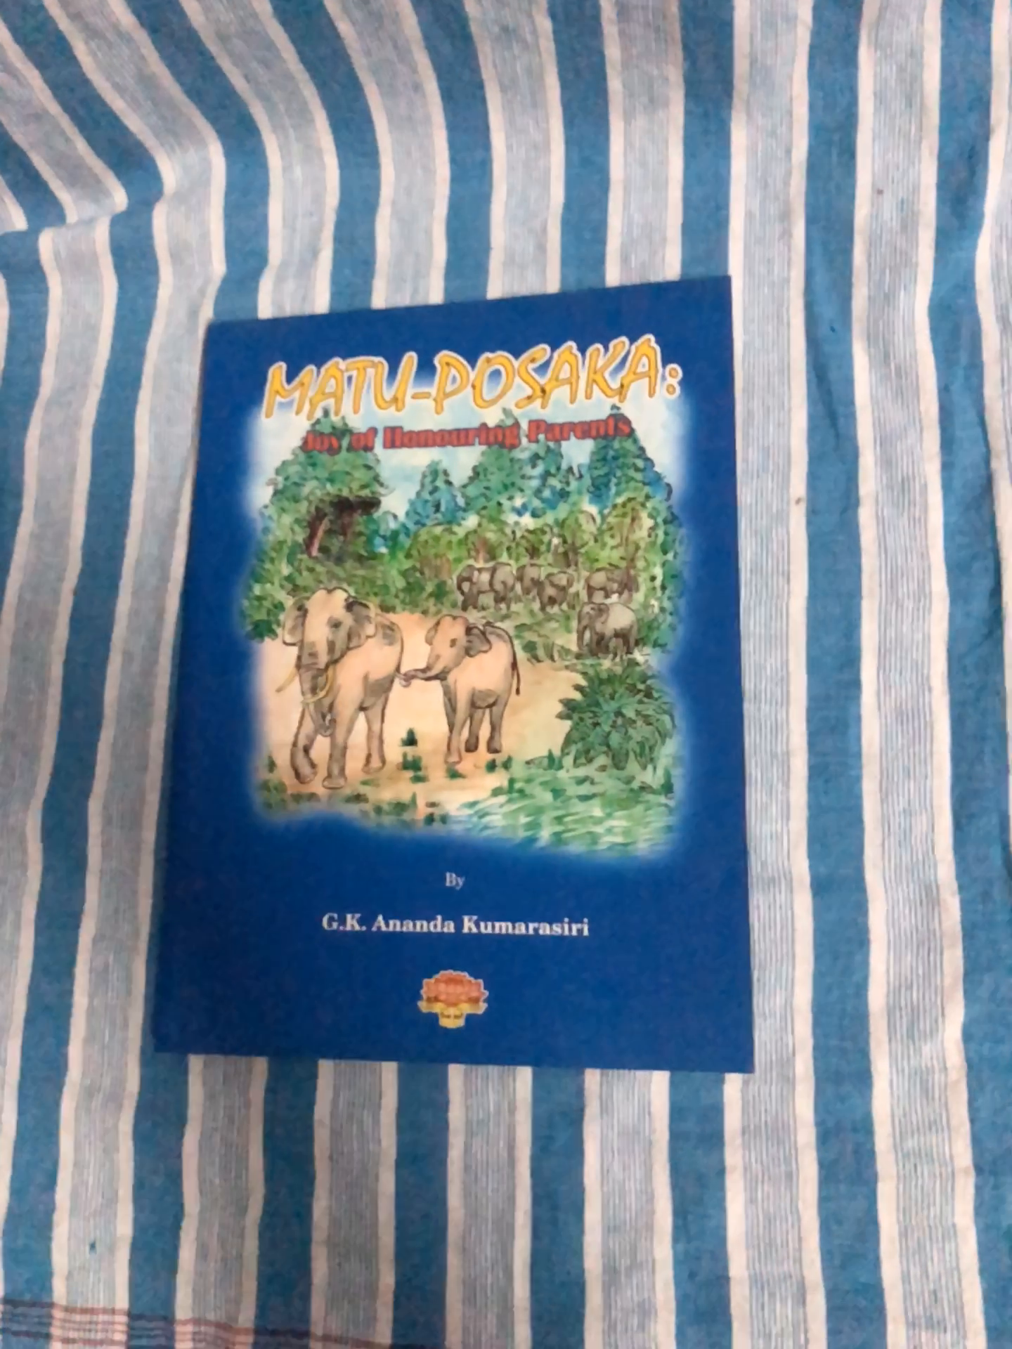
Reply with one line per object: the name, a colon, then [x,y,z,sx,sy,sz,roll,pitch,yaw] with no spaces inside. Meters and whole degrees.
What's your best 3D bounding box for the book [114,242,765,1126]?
book: [-0.017,-0.003,0.314,0.170,0.020,0.230,-1,79,12]
